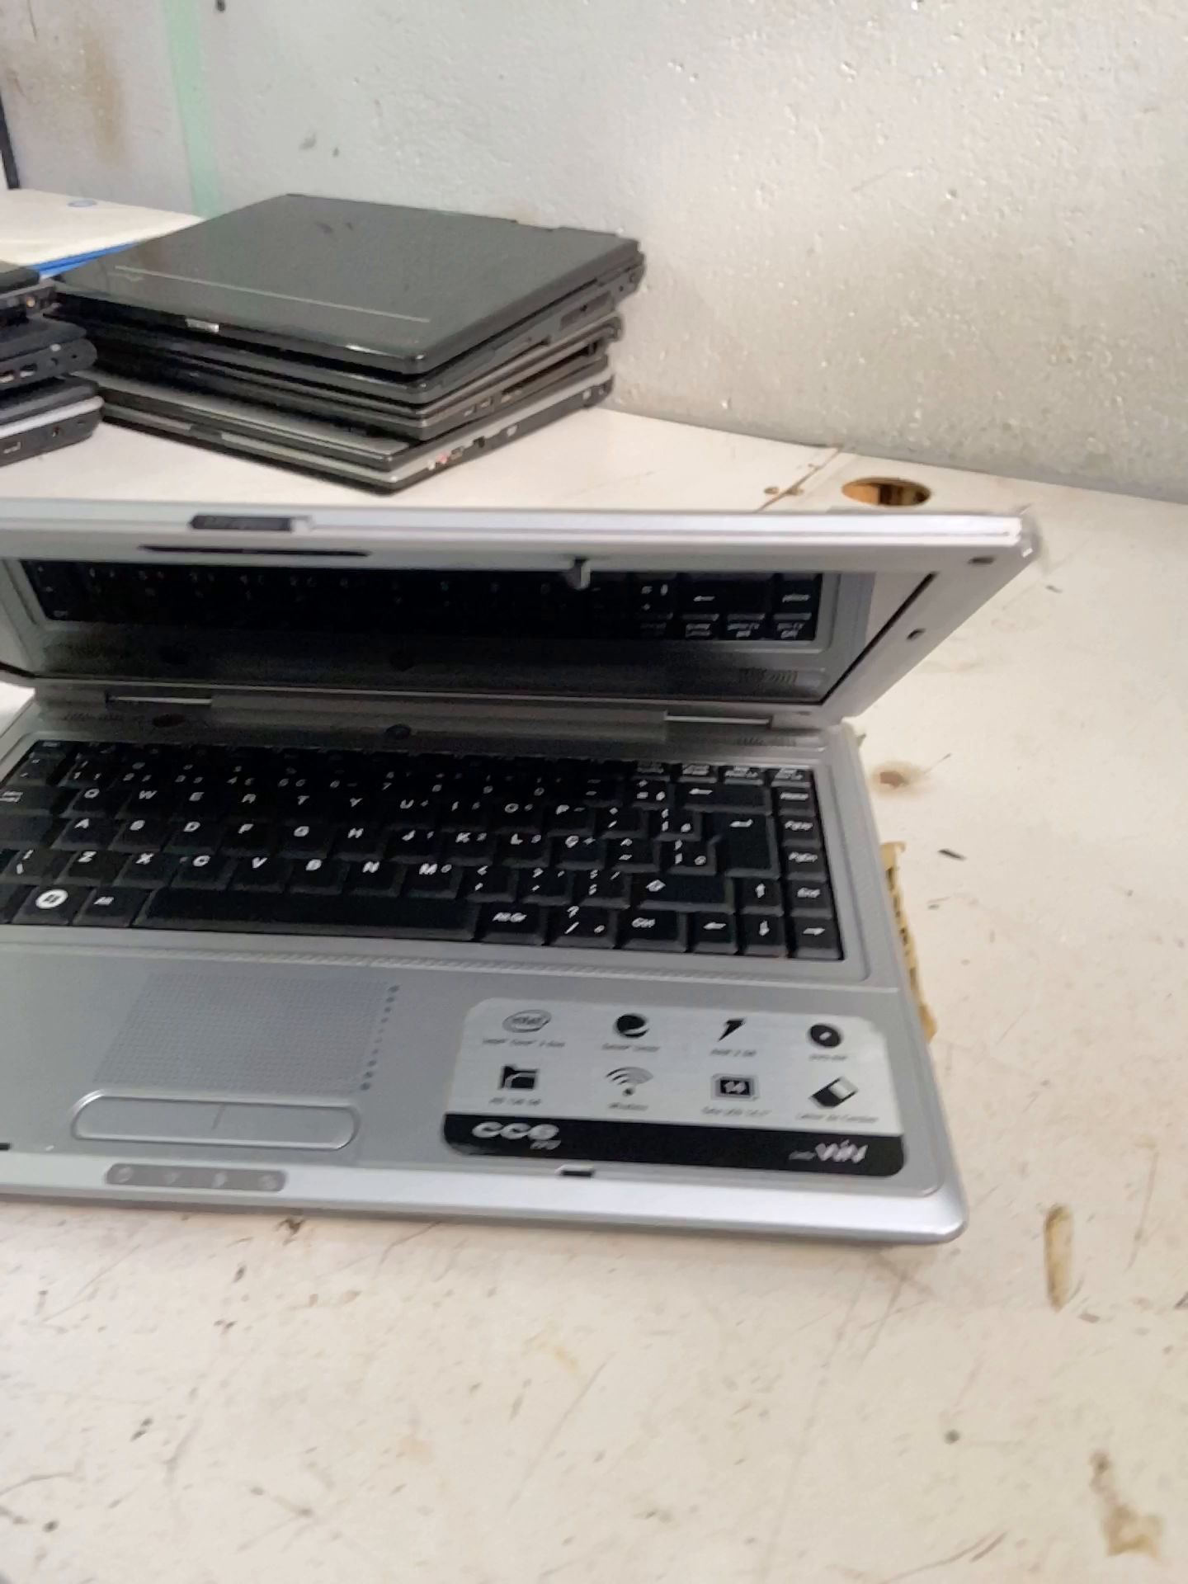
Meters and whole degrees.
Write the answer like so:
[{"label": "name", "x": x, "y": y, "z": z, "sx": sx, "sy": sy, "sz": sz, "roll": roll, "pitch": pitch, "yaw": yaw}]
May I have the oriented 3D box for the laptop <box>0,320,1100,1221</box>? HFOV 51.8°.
[{"label": "laptop", "x": -0.072, "y": -0.032, "z": 0.366, "sx": 0.335, "sy": 0.153, "sz": 0.244, "roll": 2, "pitch": 33, "yaw": 3}]
